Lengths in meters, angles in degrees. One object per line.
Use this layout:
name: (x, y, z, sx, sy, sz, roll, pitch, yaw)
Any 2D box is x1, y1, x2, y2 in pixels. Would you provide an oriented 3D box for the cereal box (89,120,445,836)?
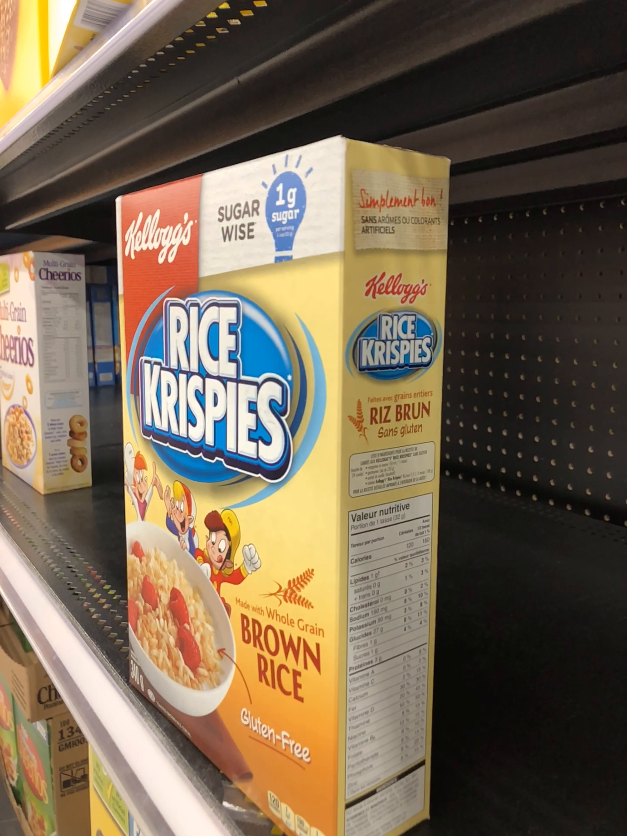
cereal box: (-0.037, 0.026, 0.353, 0.060, 0.289, 0.210, -7, 11, -38)
